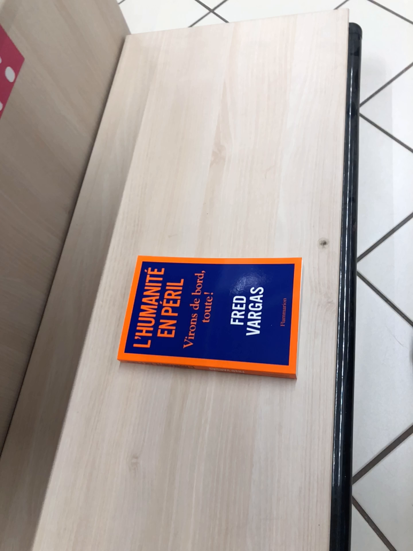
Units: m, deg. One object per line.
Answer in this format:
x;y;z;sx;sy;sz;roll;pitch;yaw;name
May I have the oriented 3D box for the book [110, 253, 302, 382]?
0.002;0.044;0.534;0.207;0.030;0.138;2;66;16;book
